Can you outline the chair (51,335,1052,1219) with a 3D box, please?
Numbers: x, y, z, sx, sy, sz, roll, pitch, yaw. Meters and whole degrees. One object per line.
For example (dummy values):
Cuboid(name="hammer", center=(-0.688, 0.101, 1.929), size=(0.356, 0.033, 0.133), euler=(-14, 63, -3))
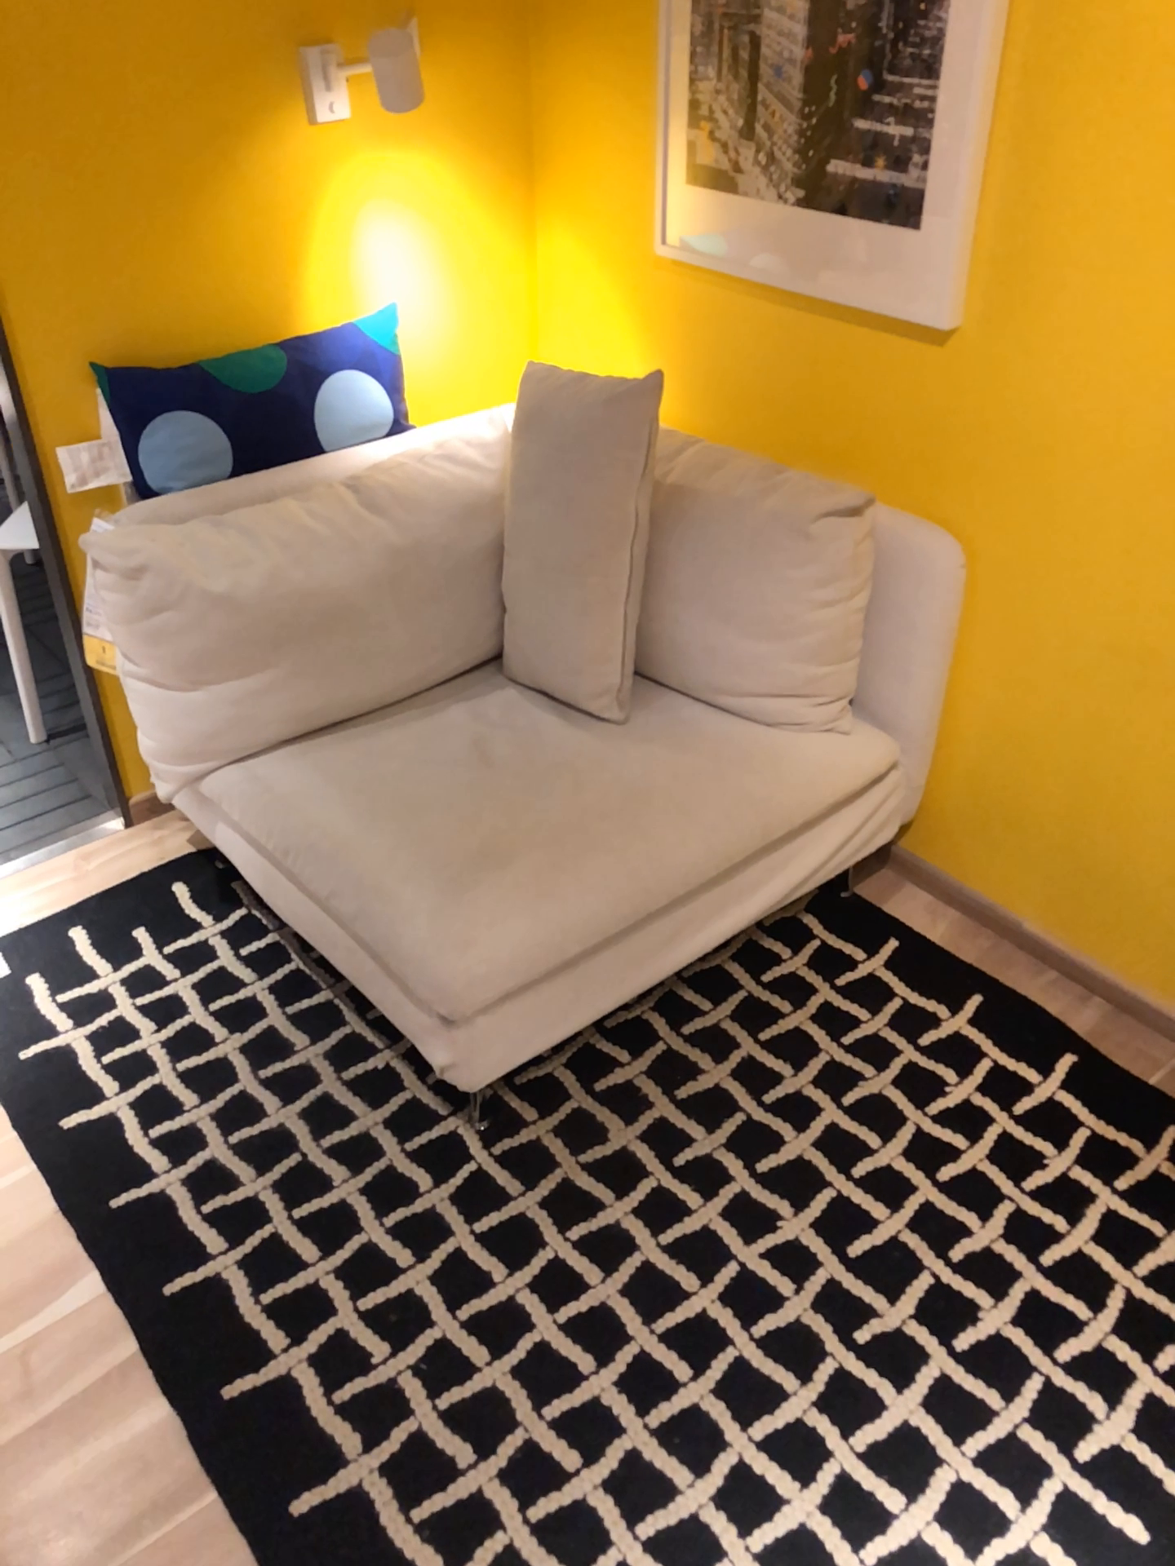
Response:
Cuboid(name="chair", center=(-0.063, -0.150, 2.127), size=(1.113, 0.755, 1.015), euler=(-25, 41, -31))
